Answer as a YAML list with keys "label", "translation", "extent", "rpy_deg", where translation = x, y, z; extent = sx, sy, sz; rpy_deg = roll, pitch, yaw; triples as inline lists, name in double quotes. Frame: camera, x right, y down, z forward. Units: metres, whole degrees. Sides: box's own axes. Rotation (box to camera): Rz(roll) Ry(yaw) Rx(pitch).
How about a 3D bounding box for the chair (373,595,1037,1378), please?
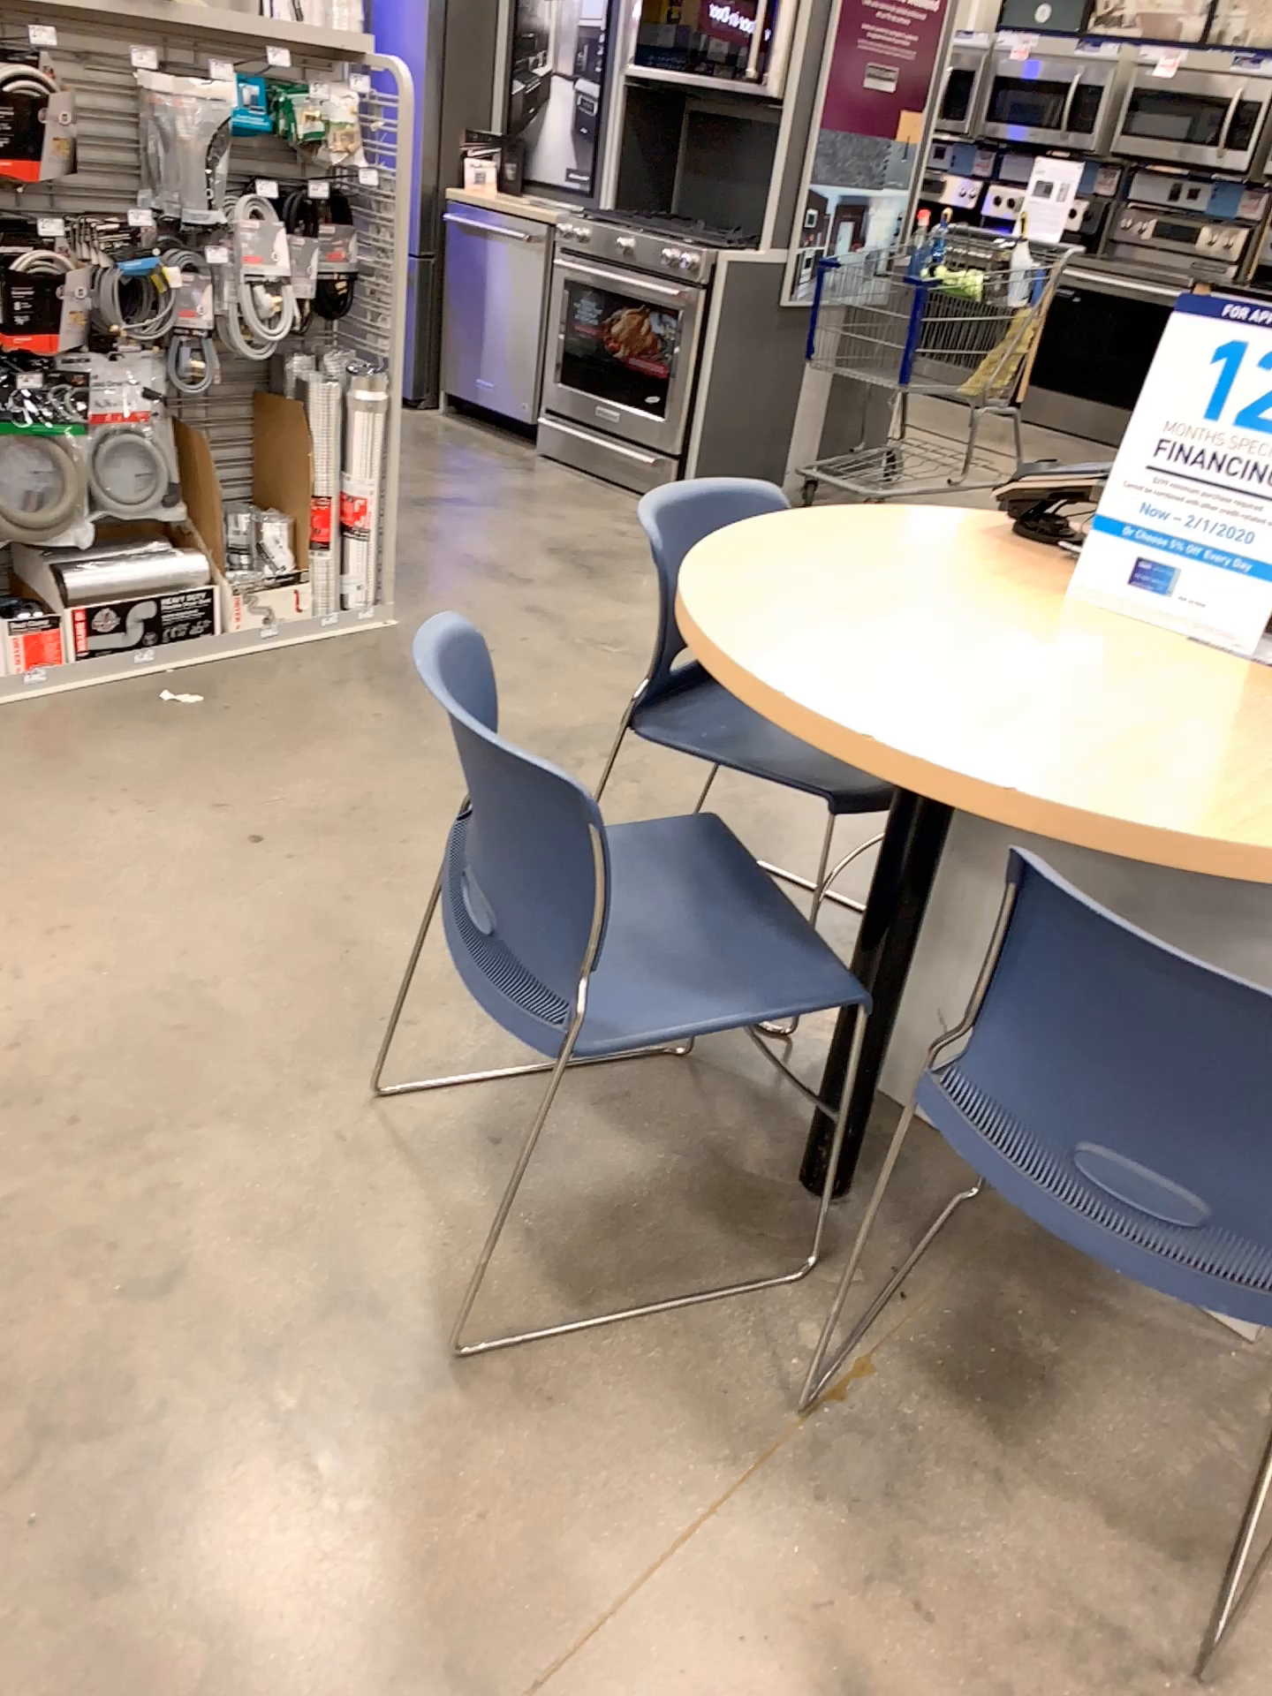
- label: "chair"
  translation: [0.014, 0.138, 1.578]
  extent: [0.551, 0.749, 0.485]
  rpy_deg: [-4, 32, -22]

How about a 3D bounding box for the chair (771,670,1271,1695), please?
- label: "chair"
  translation: [0.550, 0.307, 1.331]
  extent: [0.484, 0.749, 0.533]
  rpy_deg: [26, 34, 28]

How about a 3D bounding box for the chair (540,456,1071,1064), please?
- label: "chair"
  translation: [0.252, -0.175, 2.123]
  extent: [0.572, 0.729, 0.485]
  rpy_deg: [26, 34, 27]
